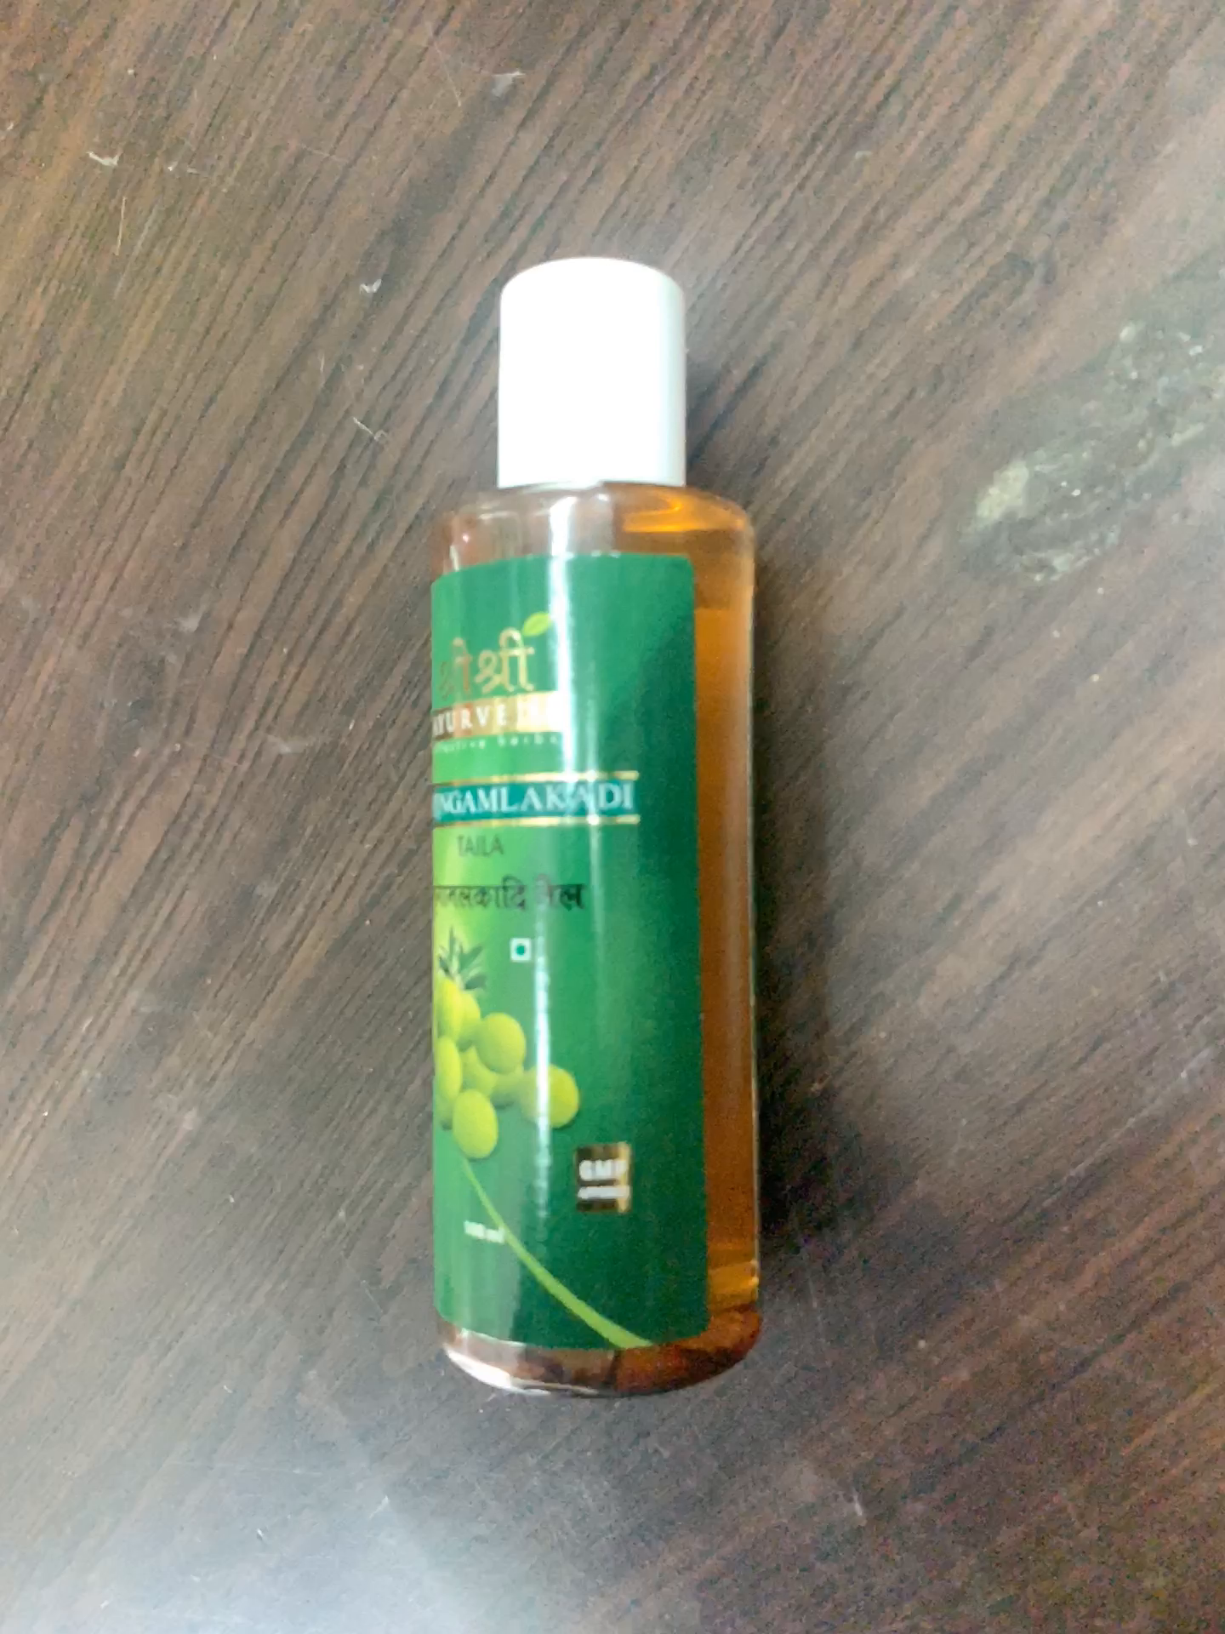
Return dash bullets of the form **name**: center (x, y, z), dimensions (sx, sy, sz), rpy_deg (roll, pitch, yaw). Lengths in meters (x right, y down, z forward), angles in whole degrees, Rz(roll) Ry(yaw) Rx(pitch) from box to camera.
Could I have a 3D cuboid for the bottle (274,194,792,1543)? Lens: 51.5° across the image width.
- **bottle**: center (-0.008, 0.005, 0.141), dimensions (0.040, 0.040, 0.120), rpy_deg (-1, 88, 38)
